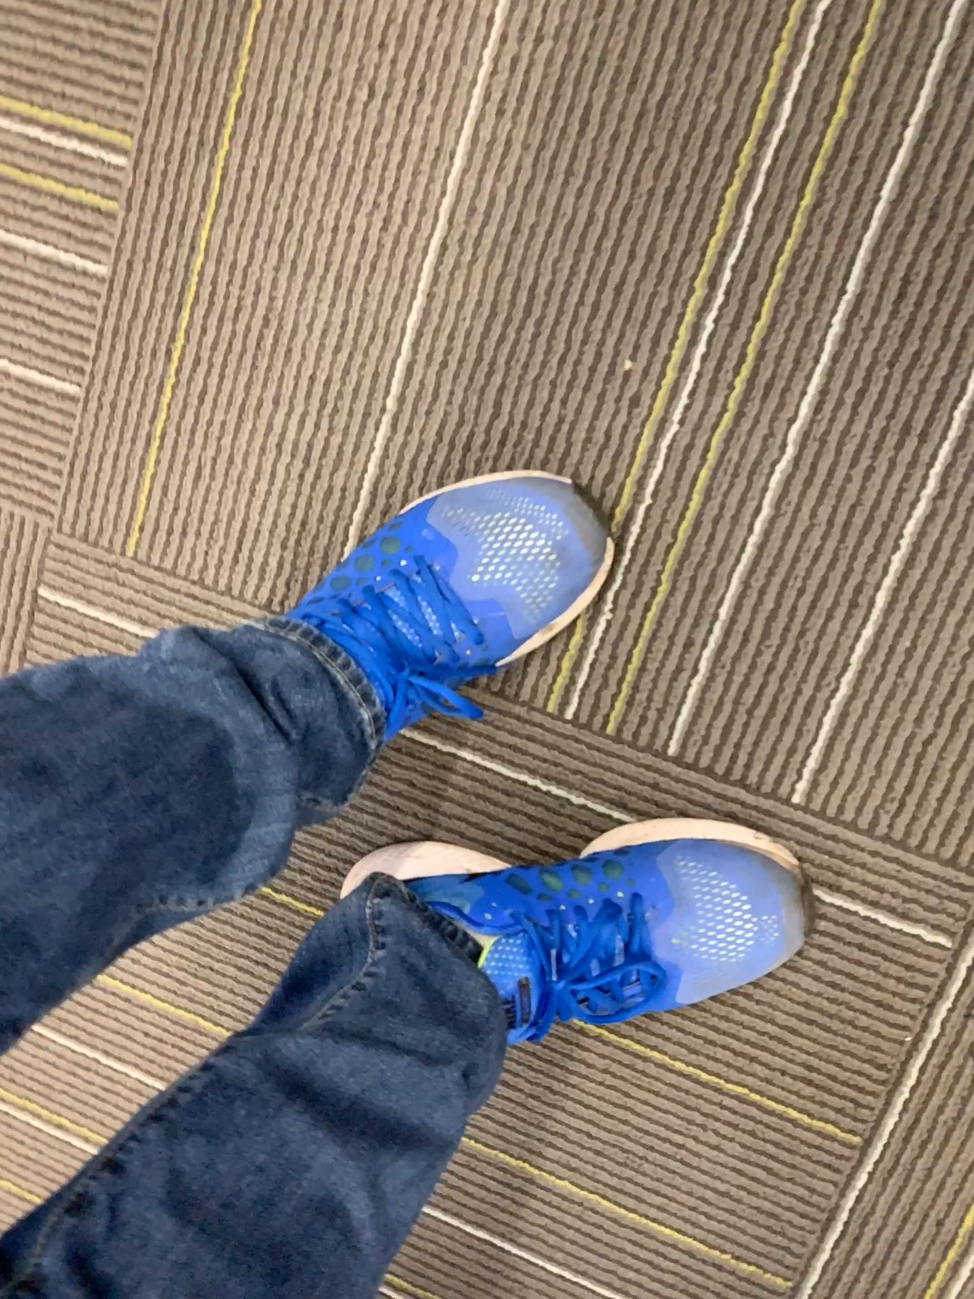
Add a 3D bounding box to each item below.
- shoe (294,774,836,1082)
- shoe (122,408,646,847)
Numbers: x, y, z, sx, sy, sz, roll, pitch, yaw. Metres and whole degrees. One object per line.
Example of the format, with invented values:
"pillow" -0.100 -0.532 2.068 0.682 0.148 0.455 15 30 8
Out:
"shoe" 0.046 0.175 0.618 0.300 0.077 0.129 -12 96 15
"shoe" -0.065 -0.009 0.618 0.298 0.077 0.125 -31 91 16
